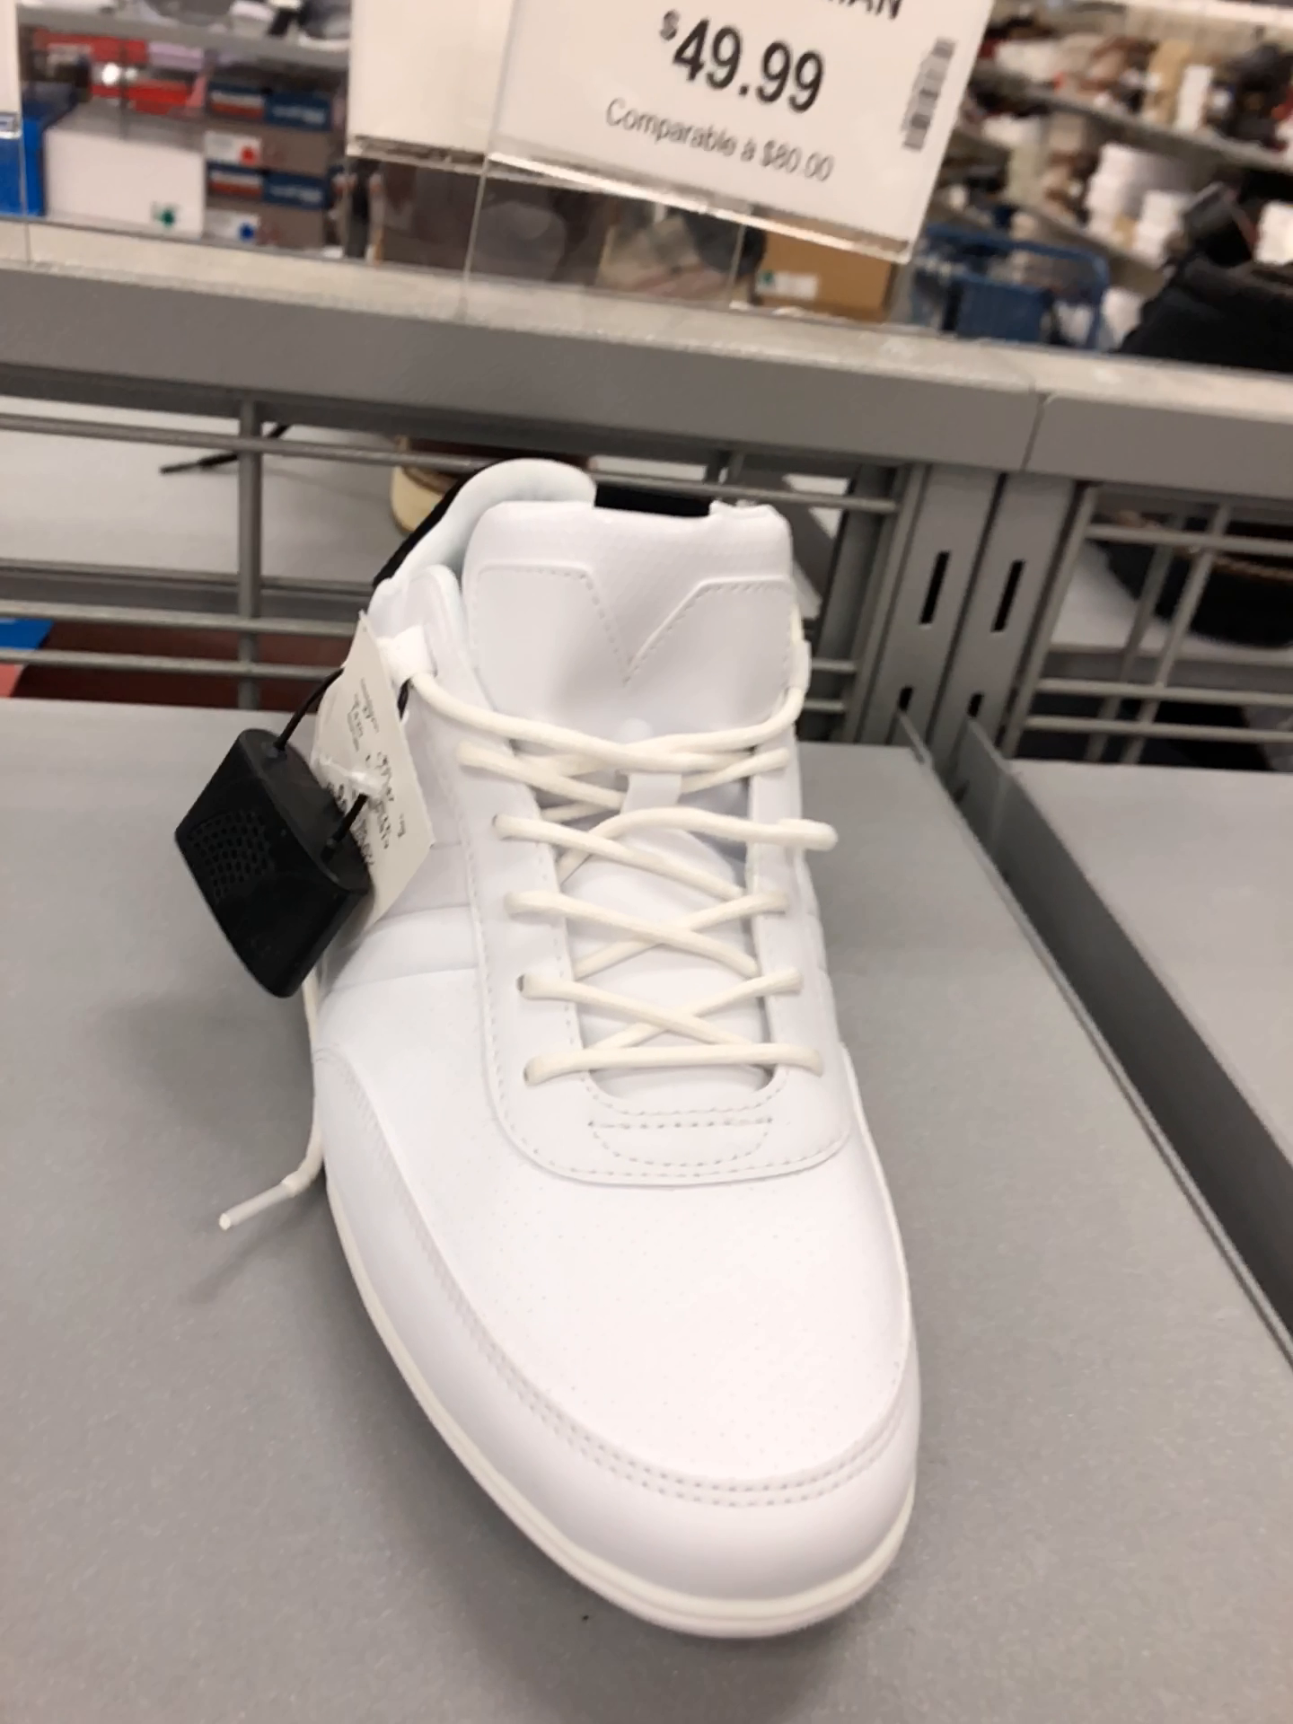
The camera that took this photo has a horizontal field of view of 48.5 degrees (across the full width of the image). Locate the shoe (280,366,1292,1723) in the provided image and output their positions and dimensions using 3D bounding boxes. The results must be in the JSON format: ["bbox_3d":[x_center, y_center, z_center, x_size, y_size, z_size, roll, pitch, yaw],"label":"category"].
[{"bbox_3d":[-0.010,0.002,0.291,0.110,0.119,0.272,0,33,-17],"label":"shoe"}]
